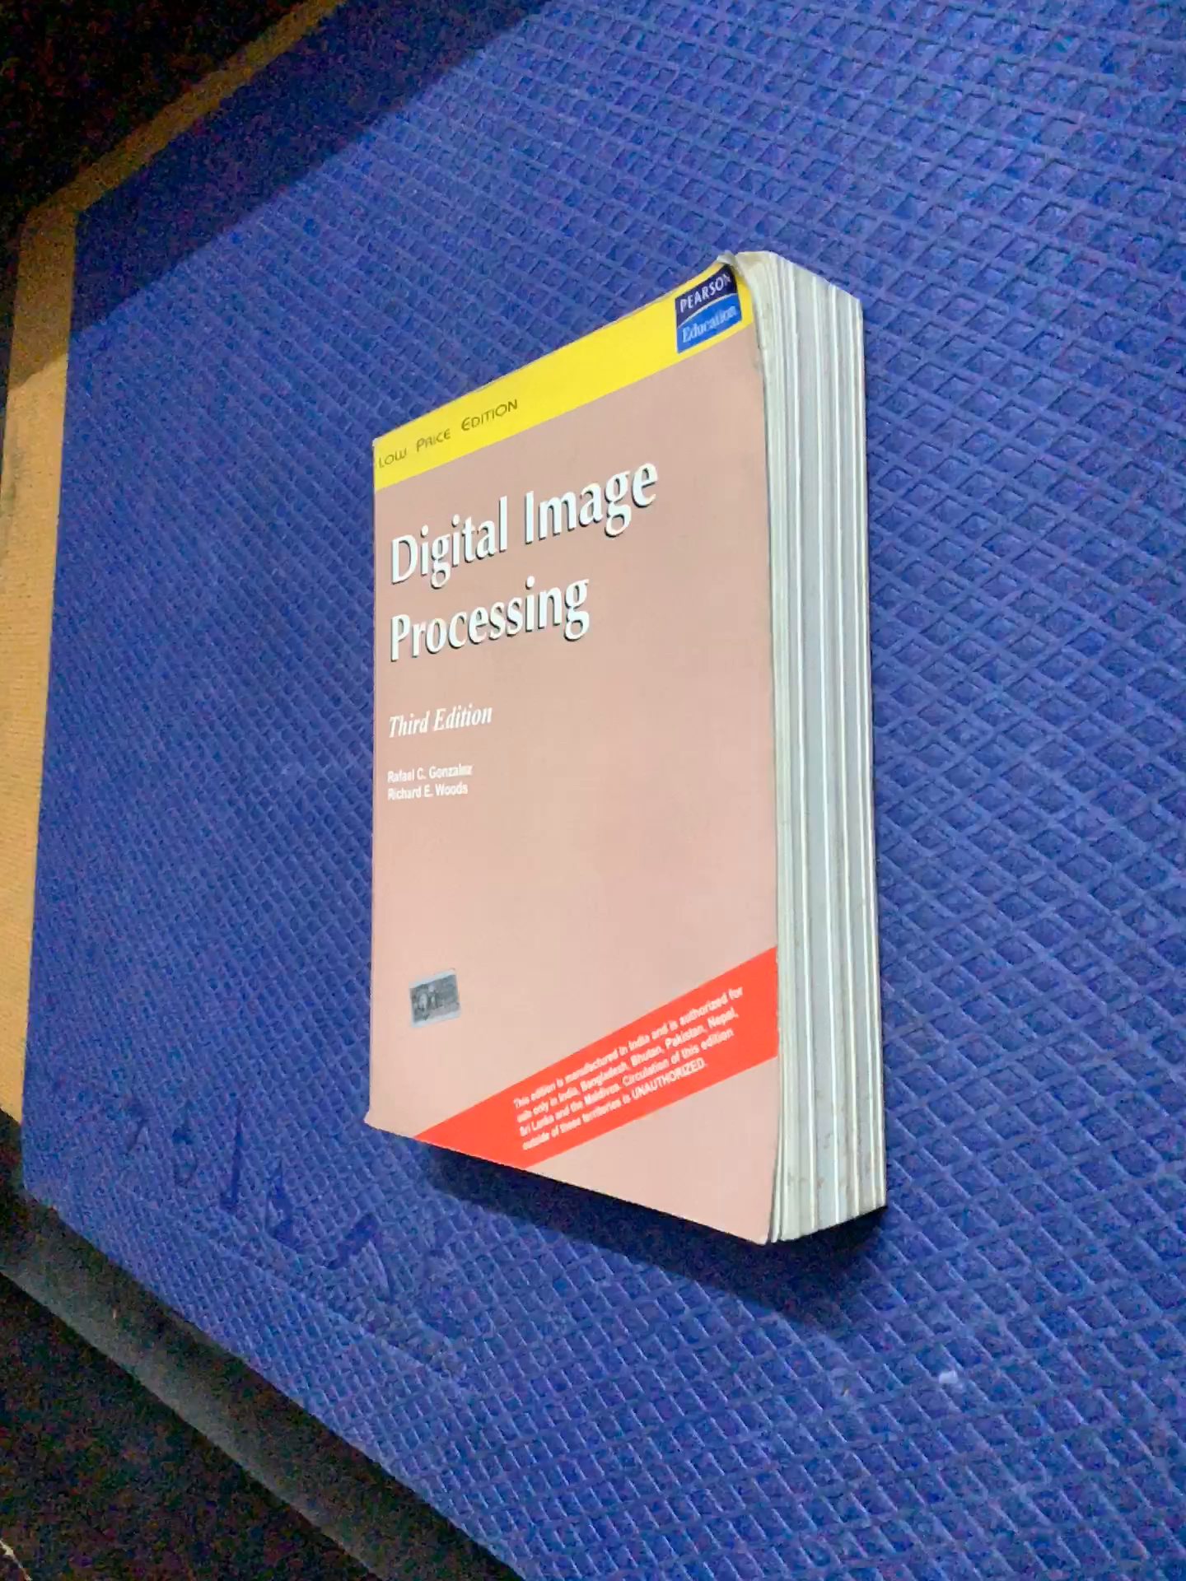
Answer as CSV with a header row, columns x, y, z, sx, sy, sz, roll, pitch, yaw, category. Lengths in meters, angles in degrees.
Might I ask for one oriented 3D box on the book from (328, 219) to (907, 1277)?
x,y,z,sx,sy,sz,roll,pitch,yaw,category
-0.004,-0.008,0.337,0.175,0.045,0.225,-4,84,46,book
